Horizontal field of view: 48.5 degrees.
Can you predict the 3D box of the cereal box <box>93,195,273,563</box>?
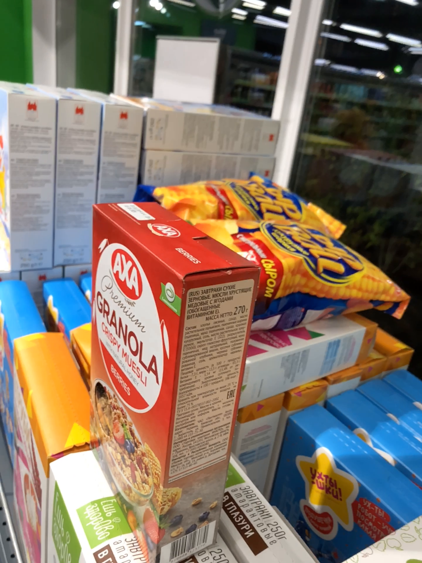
[{"bbox_3d":[-0.035,0.066,0.327,0.050,0.219,0.130,-9,29,-32],"label":"cereal box"}]
